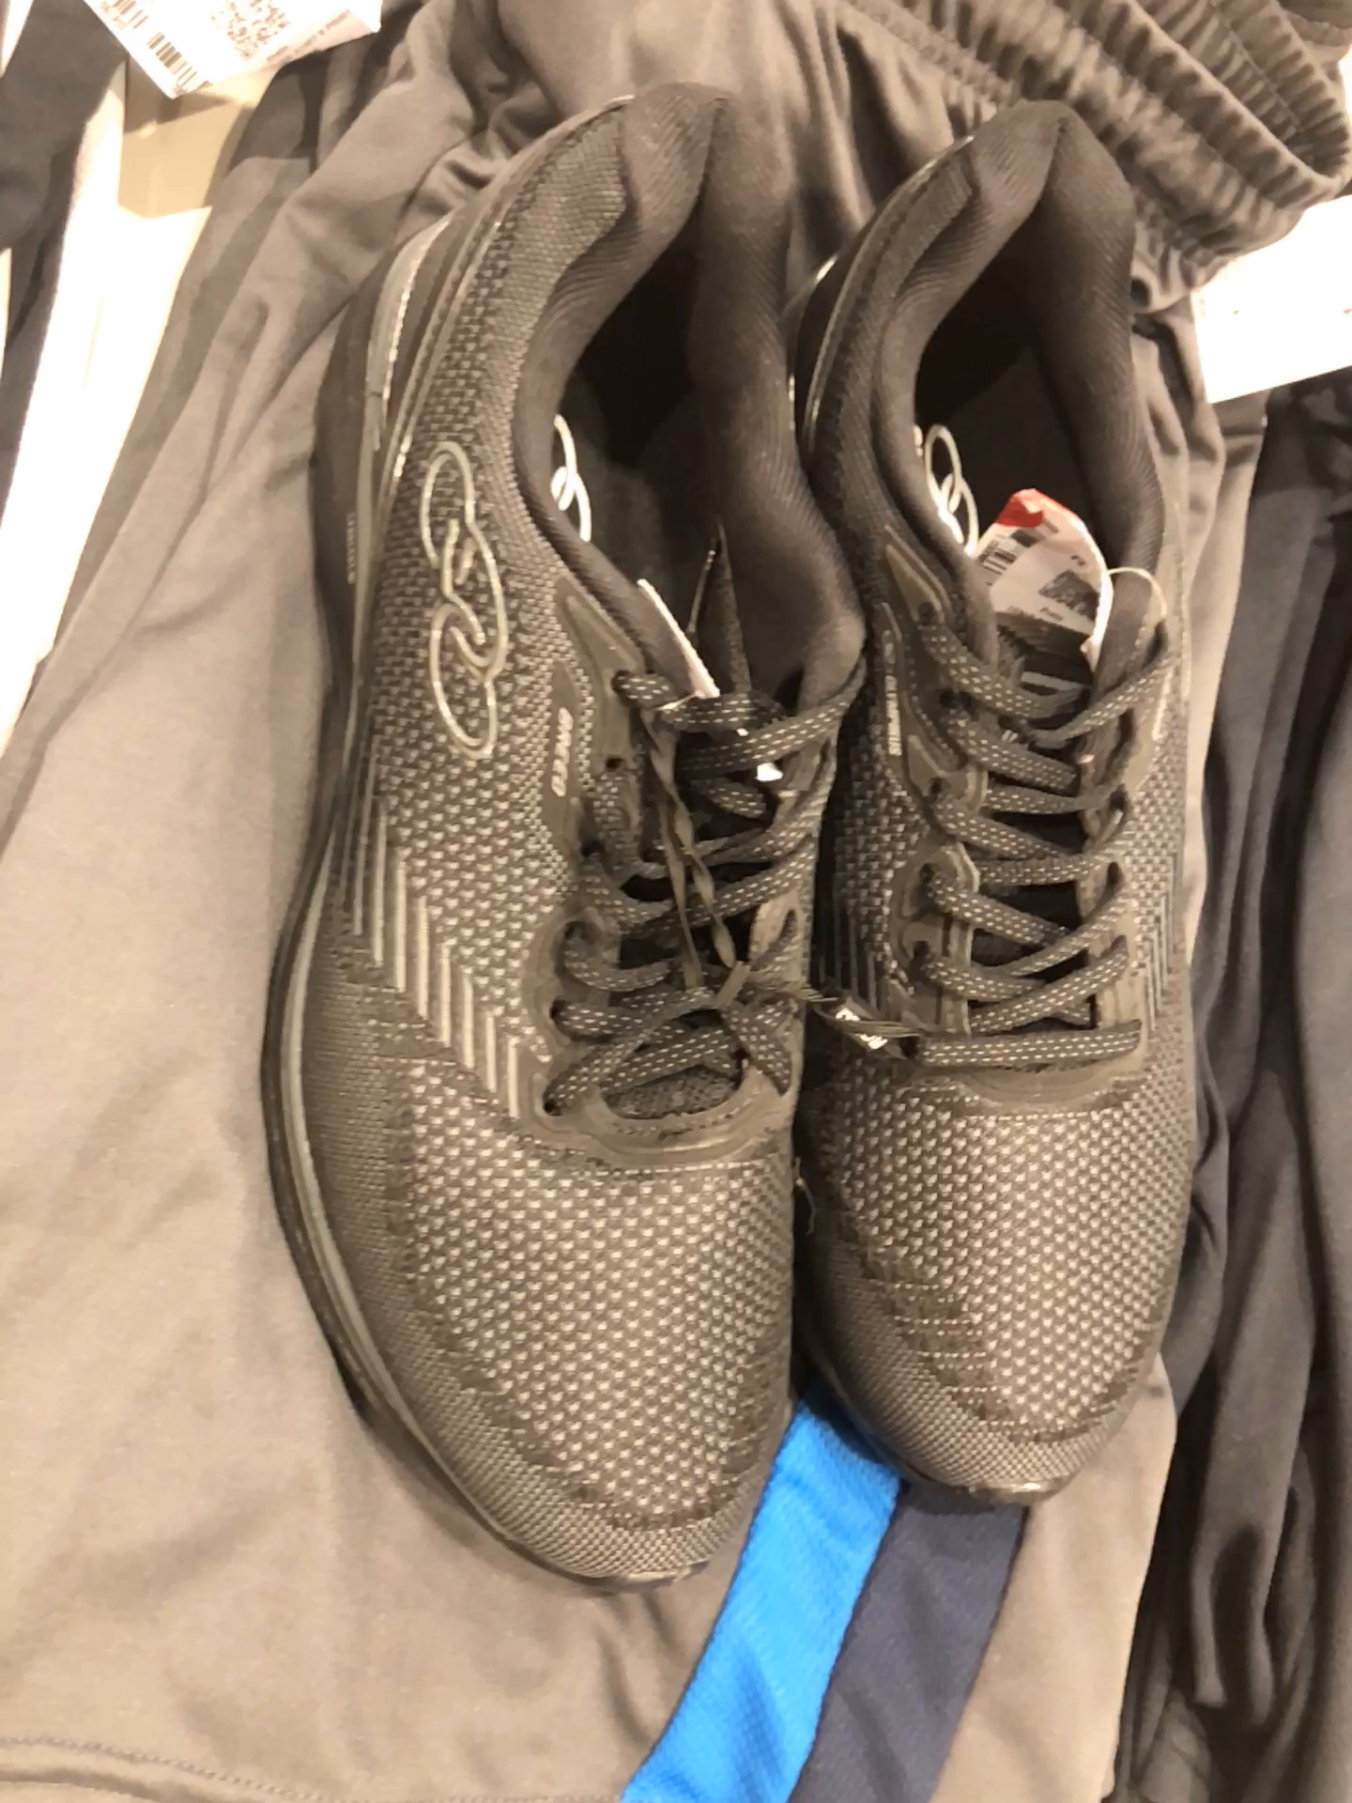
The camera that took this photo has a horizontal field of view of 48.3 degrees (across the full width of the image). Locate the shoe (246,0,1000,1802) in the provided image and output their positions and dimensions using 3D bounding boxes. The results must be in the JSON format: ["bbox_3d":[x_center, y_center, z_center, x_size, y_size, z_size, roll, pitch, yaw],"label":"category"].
[{"bbox_3d":[-0.021,-0.004,0.271,0.100,0.100,0.270,1,80,-19],"label":"shoe"}]

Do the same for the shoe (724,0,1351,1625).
[{"bbox_3d":[0.079,-0.023,0.306,0.100,0.100,0.280,1,80,-19],"label":"shoe"}]
